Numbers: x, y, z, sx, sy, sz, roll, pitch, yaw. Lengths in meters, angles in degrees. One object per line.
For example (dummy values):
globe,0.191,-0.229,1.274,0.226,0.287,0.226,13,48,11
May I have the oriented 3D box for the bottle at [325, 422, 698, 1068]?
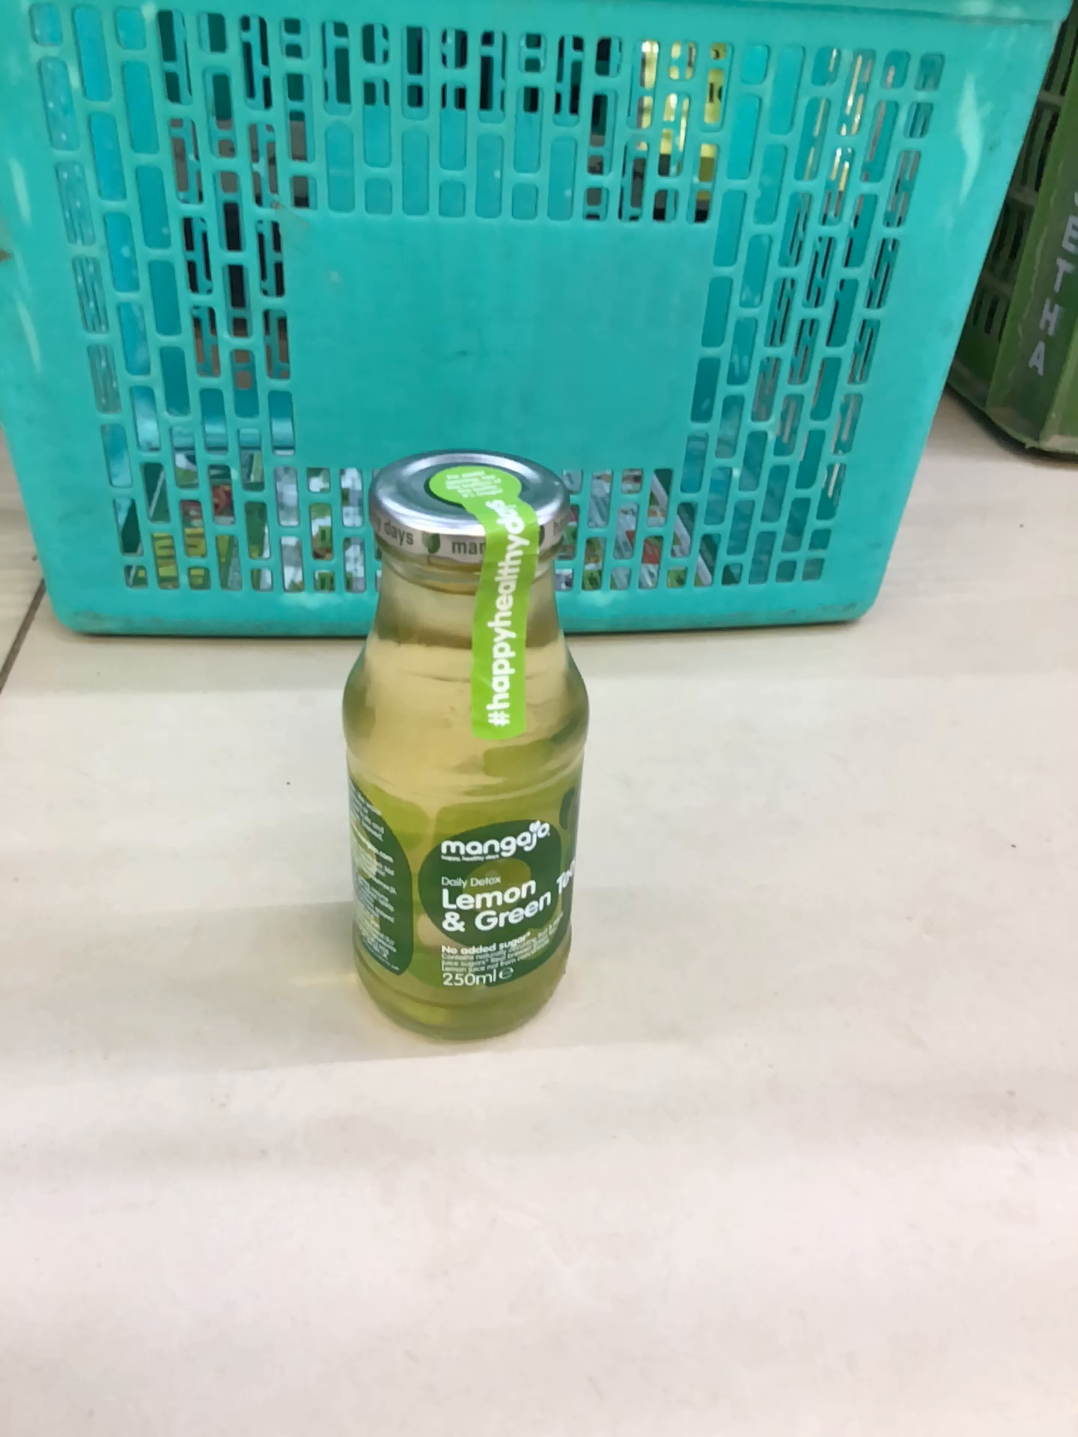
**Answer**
bottle,-0.013,0.008,0.314,0.070,0.149,0.070,2,34,-2
